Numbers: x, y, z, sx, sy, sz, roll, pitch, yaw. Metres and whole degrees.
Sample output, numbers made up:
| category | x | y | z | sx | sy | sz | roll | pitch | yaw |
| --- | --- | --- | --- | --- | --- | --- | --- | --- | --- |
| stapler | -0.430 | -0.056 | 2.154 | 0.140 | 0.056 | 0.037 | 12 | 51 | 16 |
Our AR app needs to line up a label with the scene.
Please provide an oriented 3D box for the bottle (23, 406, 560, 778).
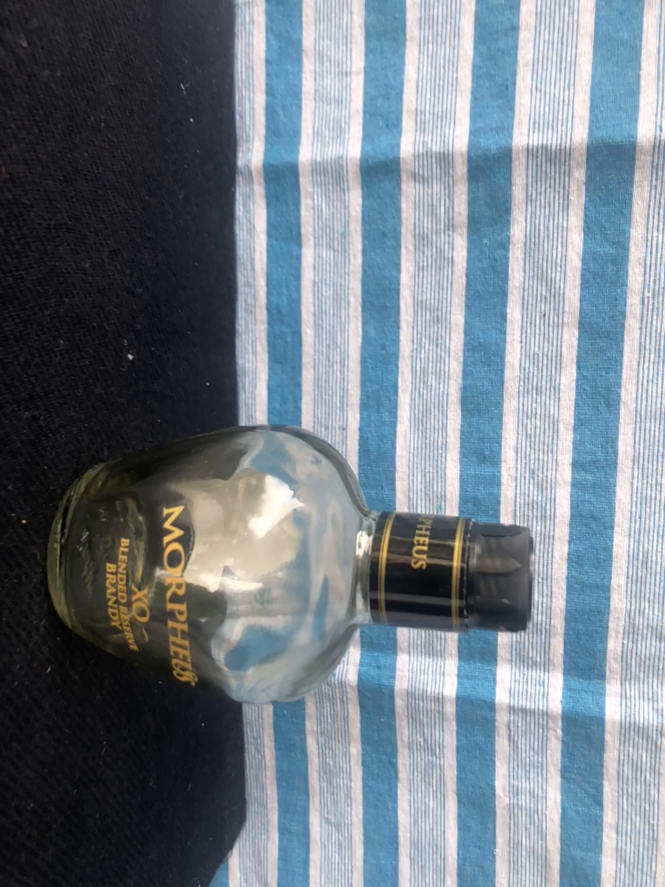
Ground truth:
| category | x | y | z | sx | sy | sz | roll | pitch | yaw |
| --- | --- | --- | --- | --- | --- | --- | --- | --- | --- |
| bottle | -0.008 | 0.033 | 0.203 | 0.050 | 0.129 | 0.070 | -45 | 136 | -66 |
